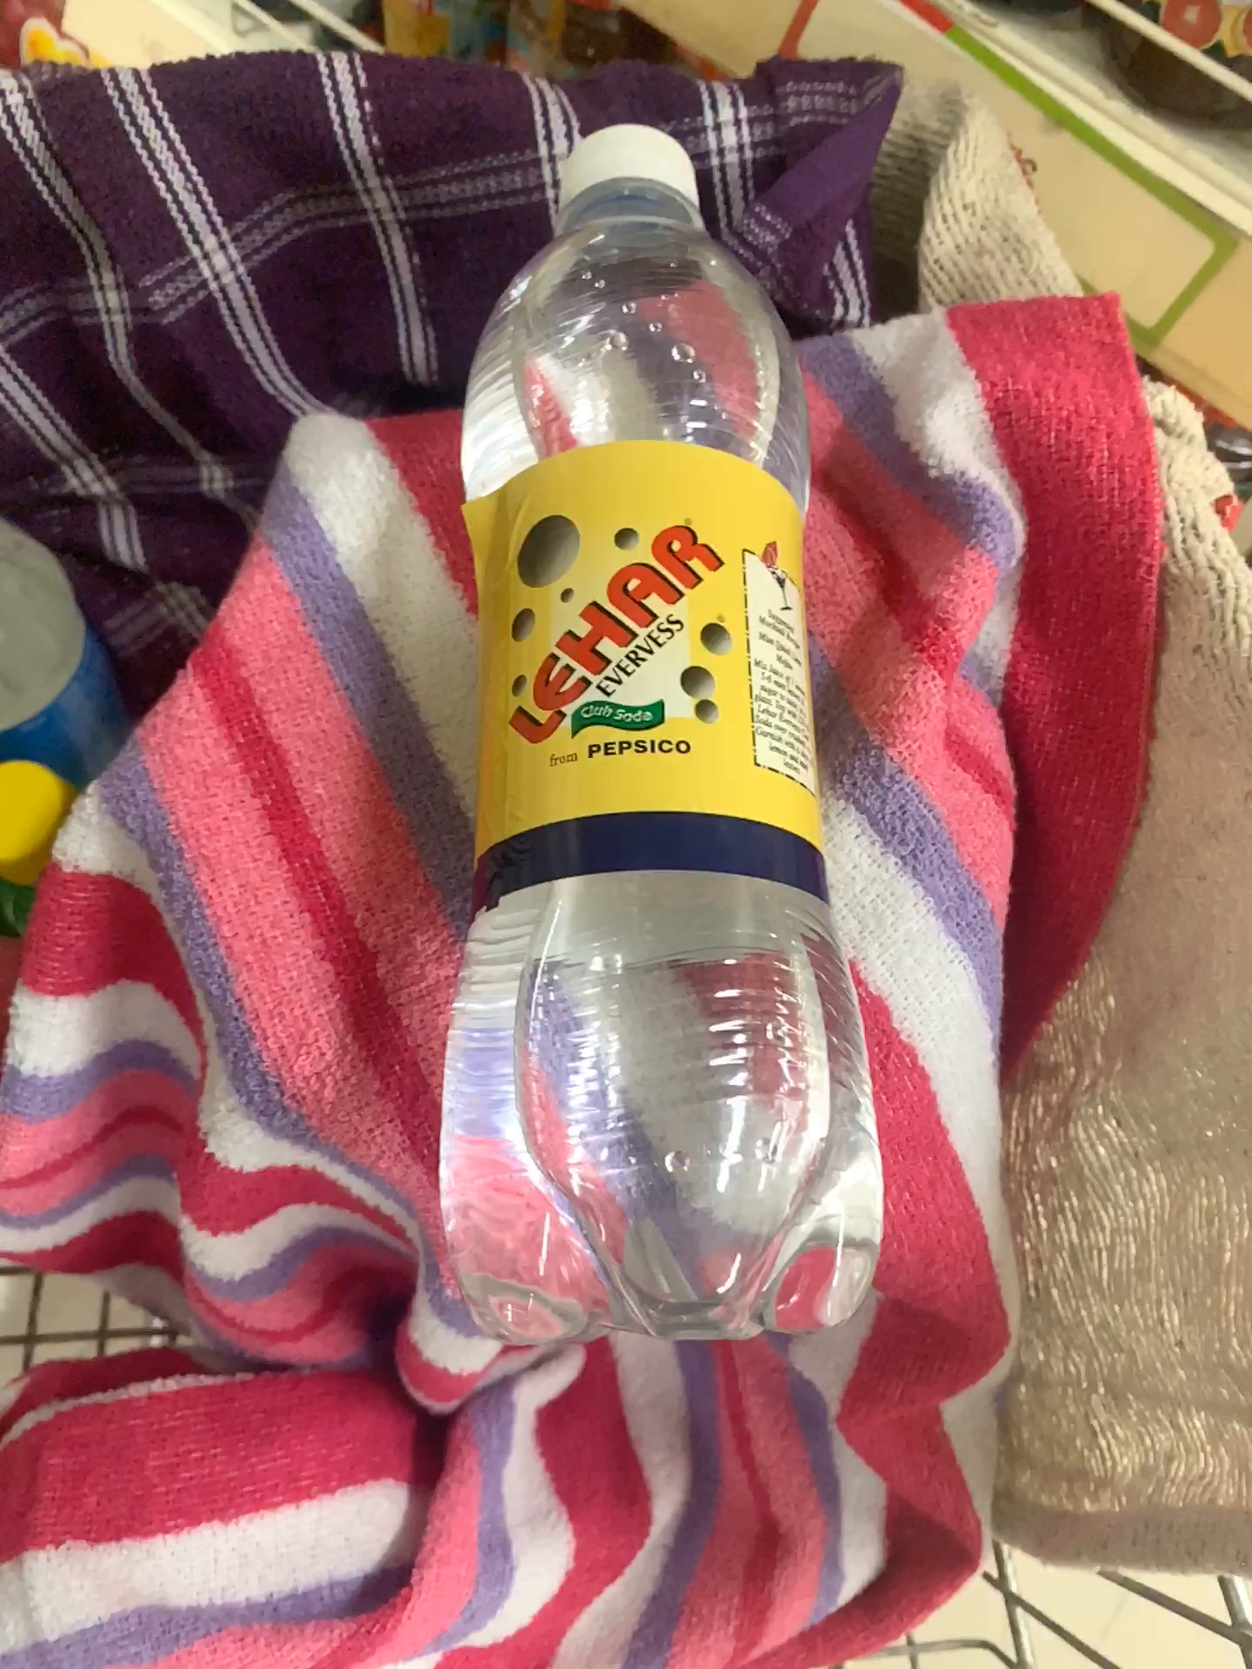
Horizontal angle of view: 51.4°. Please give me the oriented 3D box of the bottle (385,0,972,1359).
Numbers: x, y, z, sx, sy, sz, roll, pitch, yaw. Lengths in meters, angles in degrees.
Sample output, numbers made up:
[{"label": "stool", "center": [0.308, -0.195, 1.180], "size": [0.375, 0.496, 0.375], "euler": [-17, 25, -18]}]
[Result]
[{"label": "bottle", "center": [0.001, -0.037, 0.232], "size": [0.070, 0.070, 0.240], "euler": [0, 68, -4]}]
